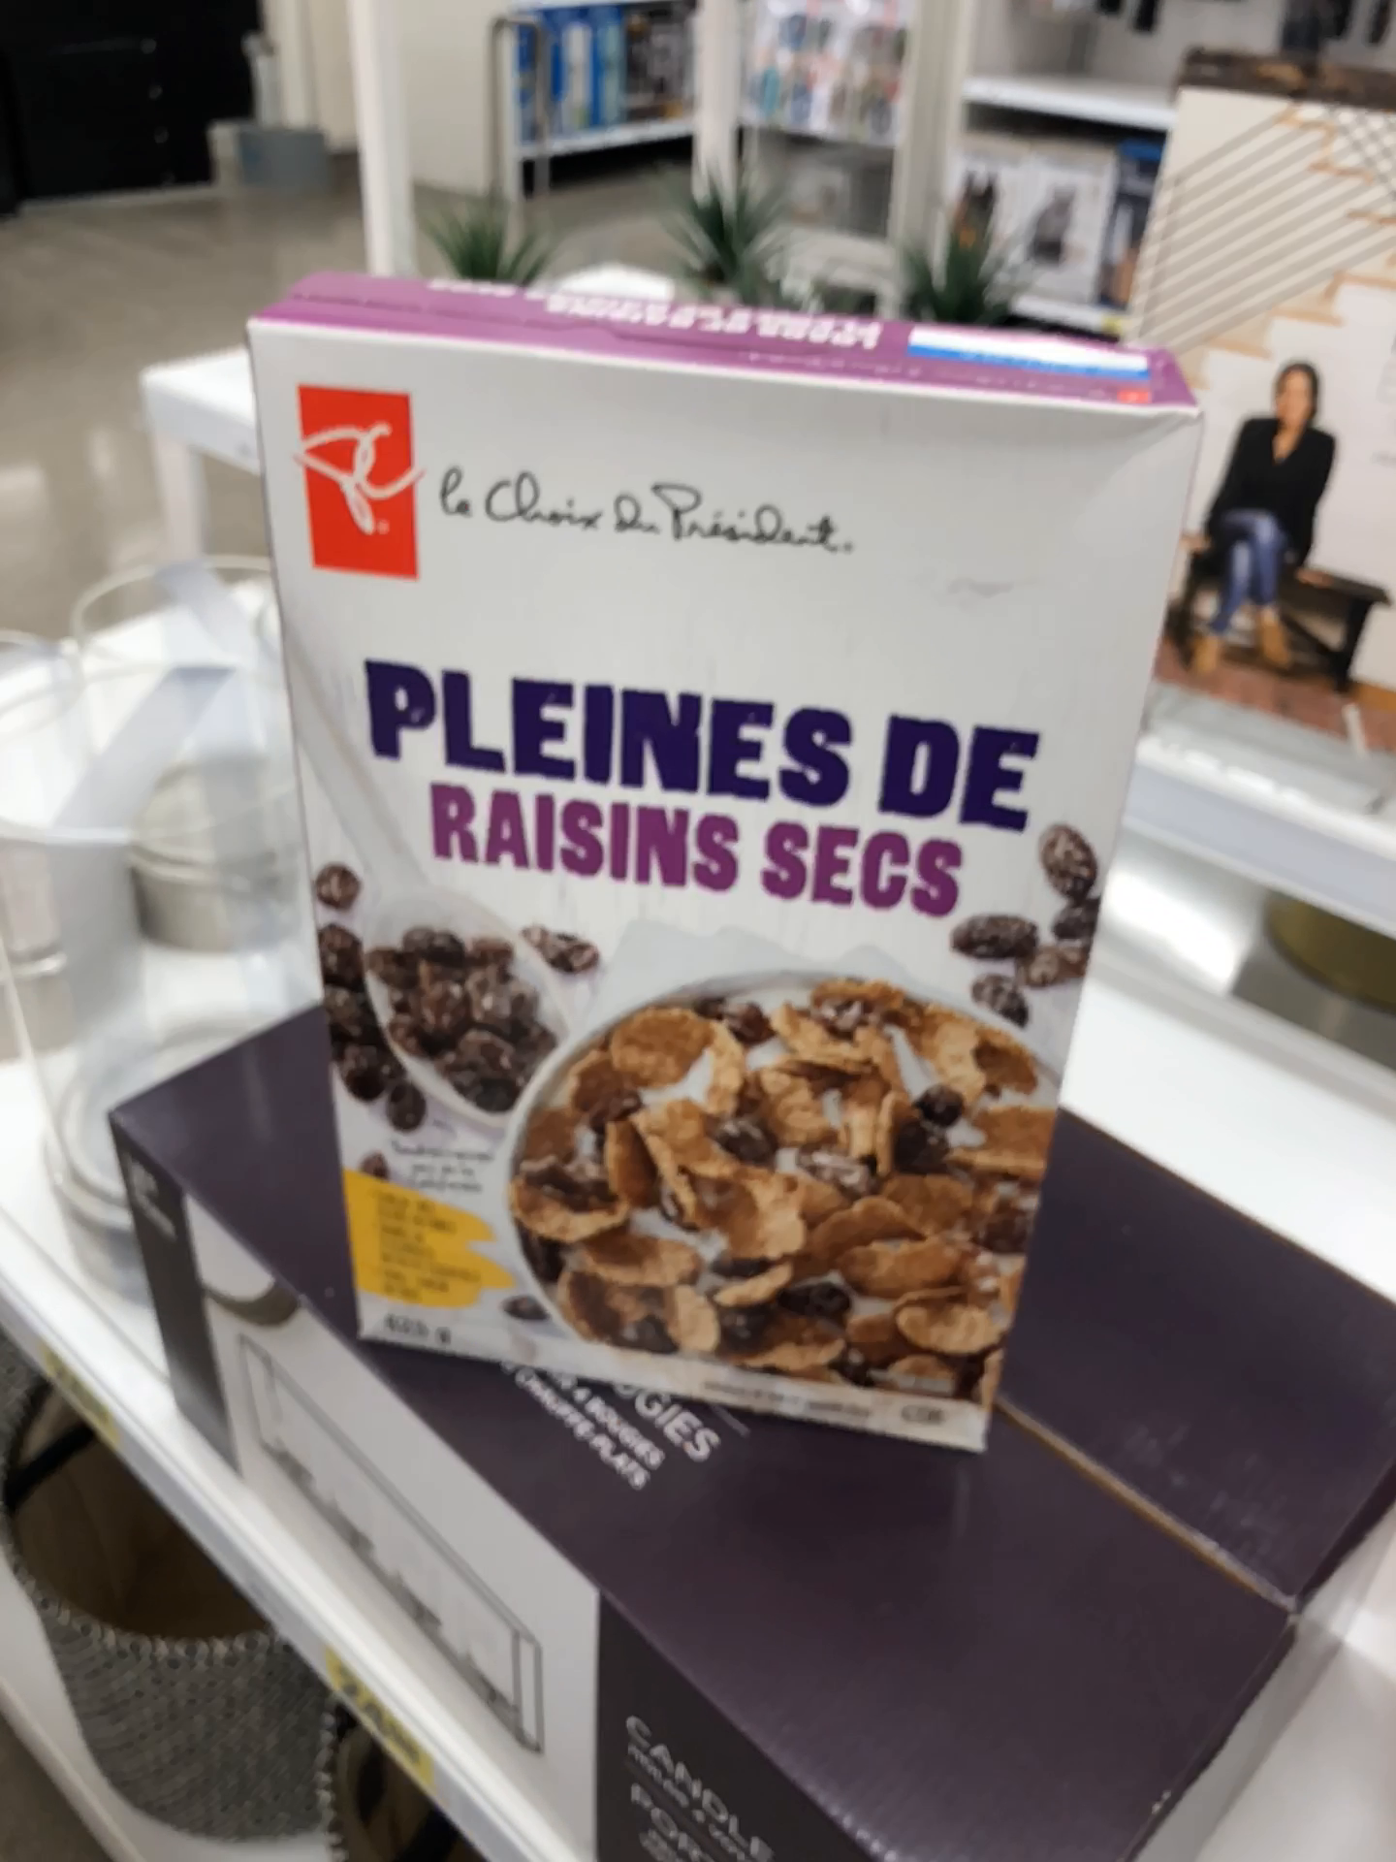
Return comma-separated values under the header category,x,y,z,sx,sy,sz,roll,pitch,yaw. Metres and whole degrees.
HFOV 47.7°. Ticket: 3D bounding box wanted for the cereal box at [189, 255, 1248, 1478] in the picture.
category,x,y,z,sx,sy,sz,roll,pitch,yaw
cereal box,-0.001,0.002,0.403,0.200,0.299,0.060,8,35,8
